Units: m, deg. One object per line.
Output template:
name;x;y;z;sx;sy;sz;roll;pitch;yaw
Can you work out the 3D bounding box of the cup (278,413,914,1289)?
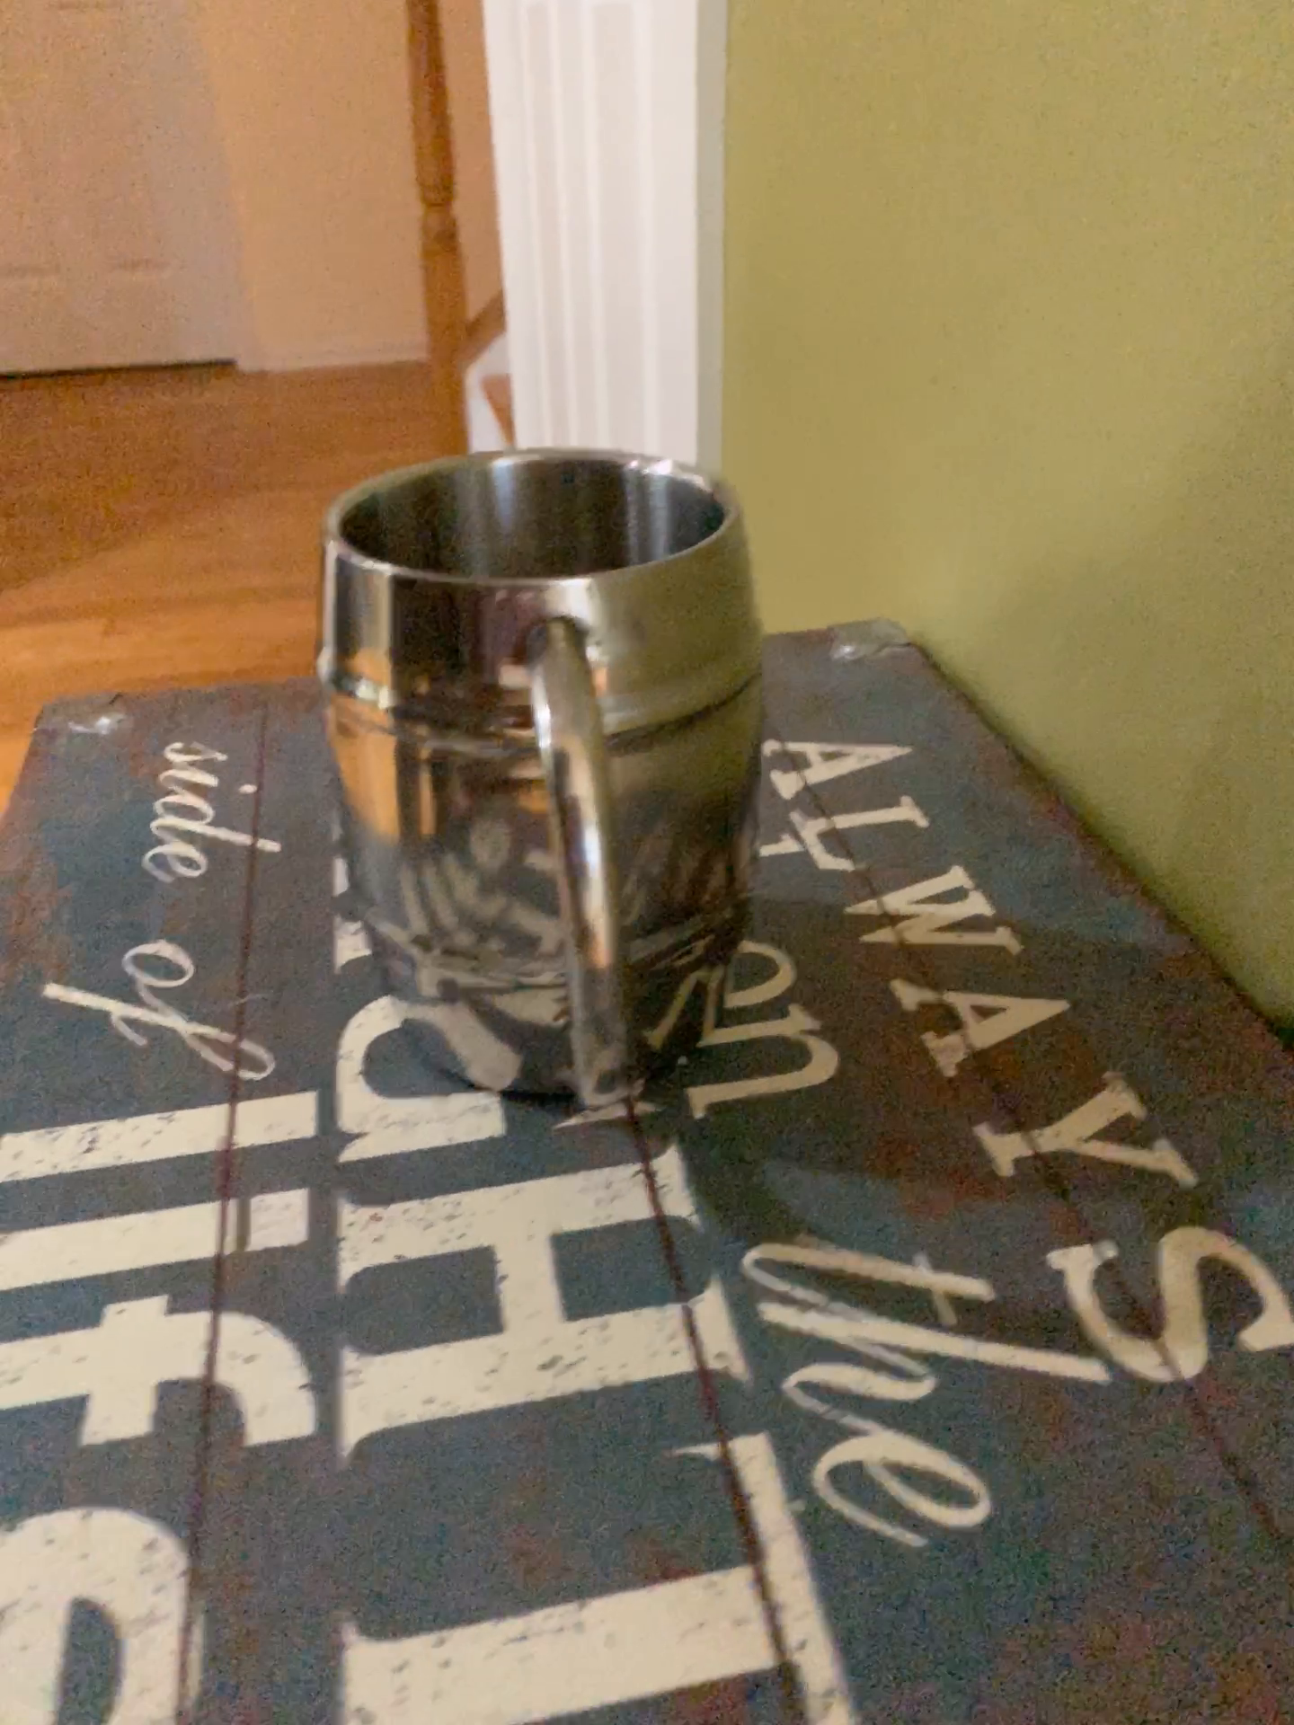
cup;-0.017;-0.012;0.267;0.089;0.113;0.129;-7;33;-9
